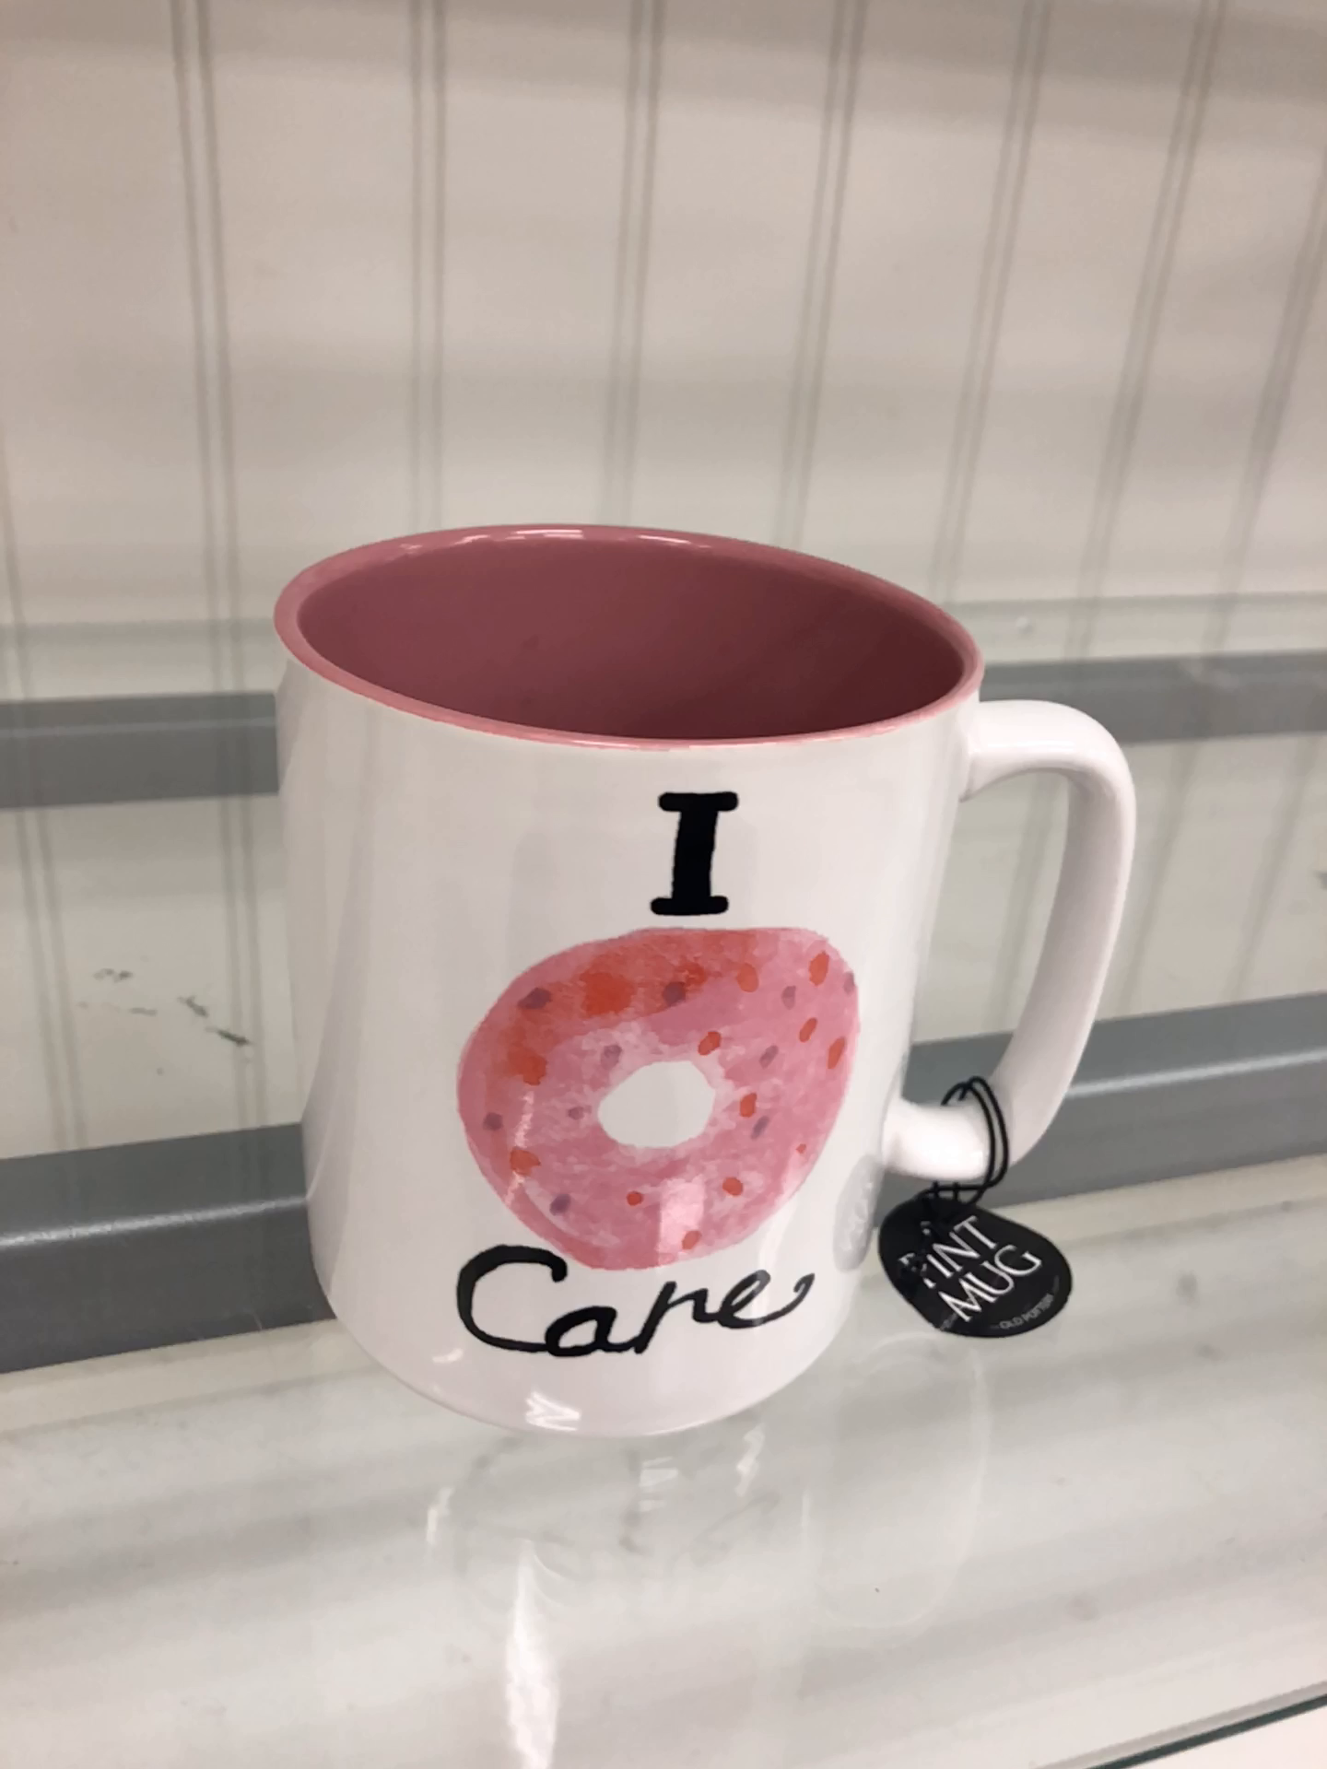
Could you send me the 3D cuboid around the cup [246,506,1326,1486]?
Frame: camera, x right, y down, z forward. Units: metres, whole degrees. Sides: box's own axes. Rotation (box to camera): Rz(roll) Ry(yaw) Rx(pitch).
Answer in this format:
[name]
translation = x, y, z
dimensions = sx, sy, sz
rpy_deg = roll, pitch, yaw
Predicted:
[cup]
translation = 0.011, 0.011, 0.239
dimensions = 0.137, 0.112, 0.101
rpy_deg = 0, 28, -10
